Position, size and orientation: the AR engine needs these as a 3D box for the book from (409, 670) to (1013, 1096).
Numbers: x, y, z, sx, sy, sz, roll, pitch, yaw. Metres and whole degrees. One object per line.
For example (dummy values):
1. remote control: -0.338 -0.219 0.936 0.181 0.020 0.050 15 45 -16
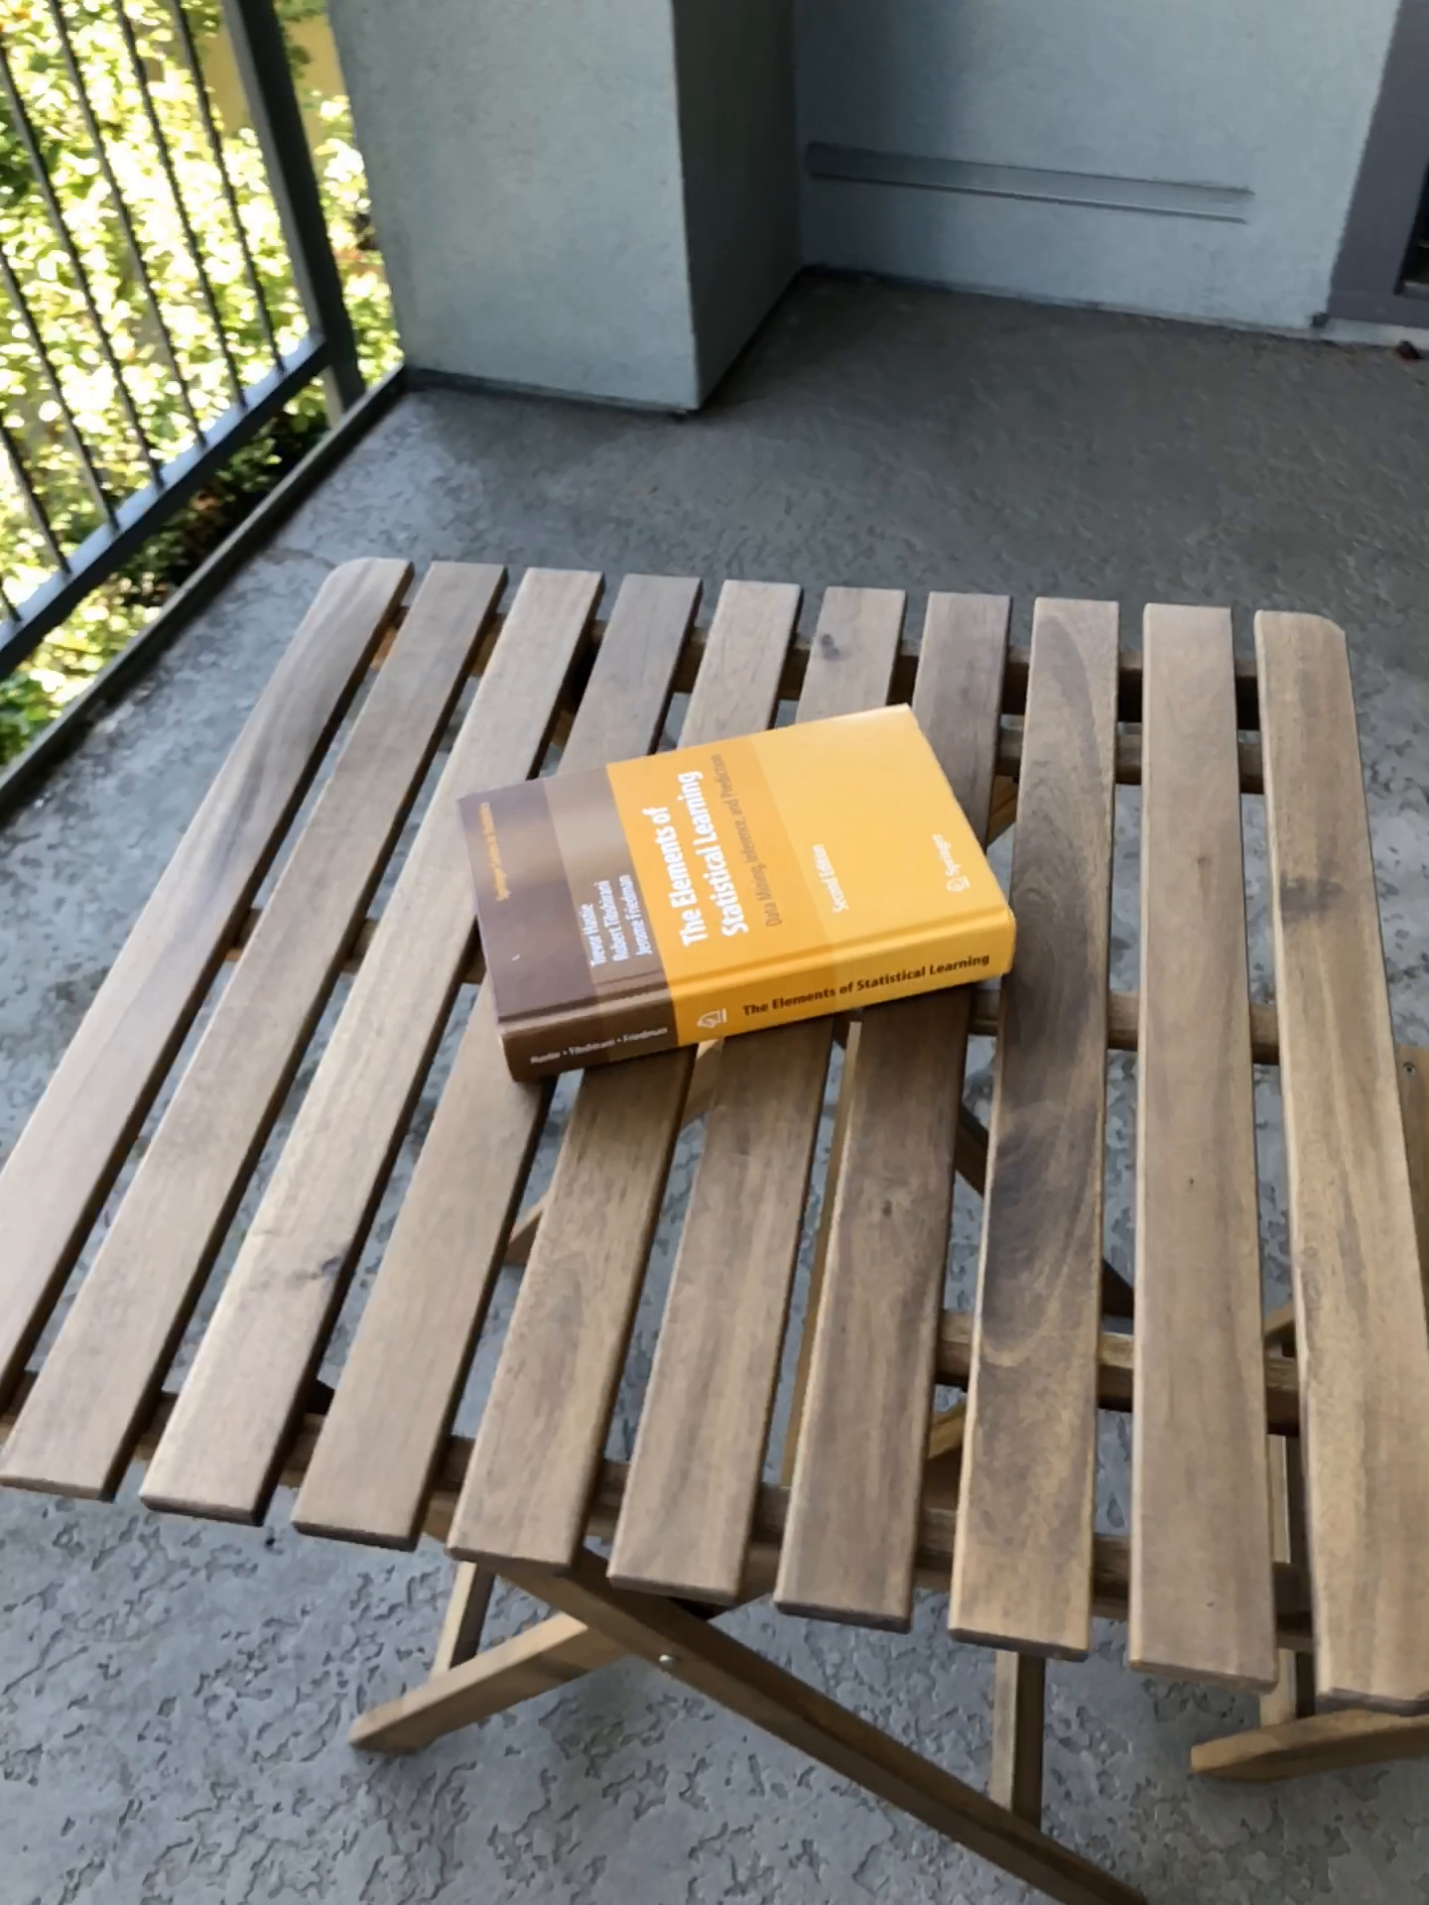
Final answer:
1. book: -0.009 -0.041 0.758 0.250 0.040 0.181 -12 50 -6
